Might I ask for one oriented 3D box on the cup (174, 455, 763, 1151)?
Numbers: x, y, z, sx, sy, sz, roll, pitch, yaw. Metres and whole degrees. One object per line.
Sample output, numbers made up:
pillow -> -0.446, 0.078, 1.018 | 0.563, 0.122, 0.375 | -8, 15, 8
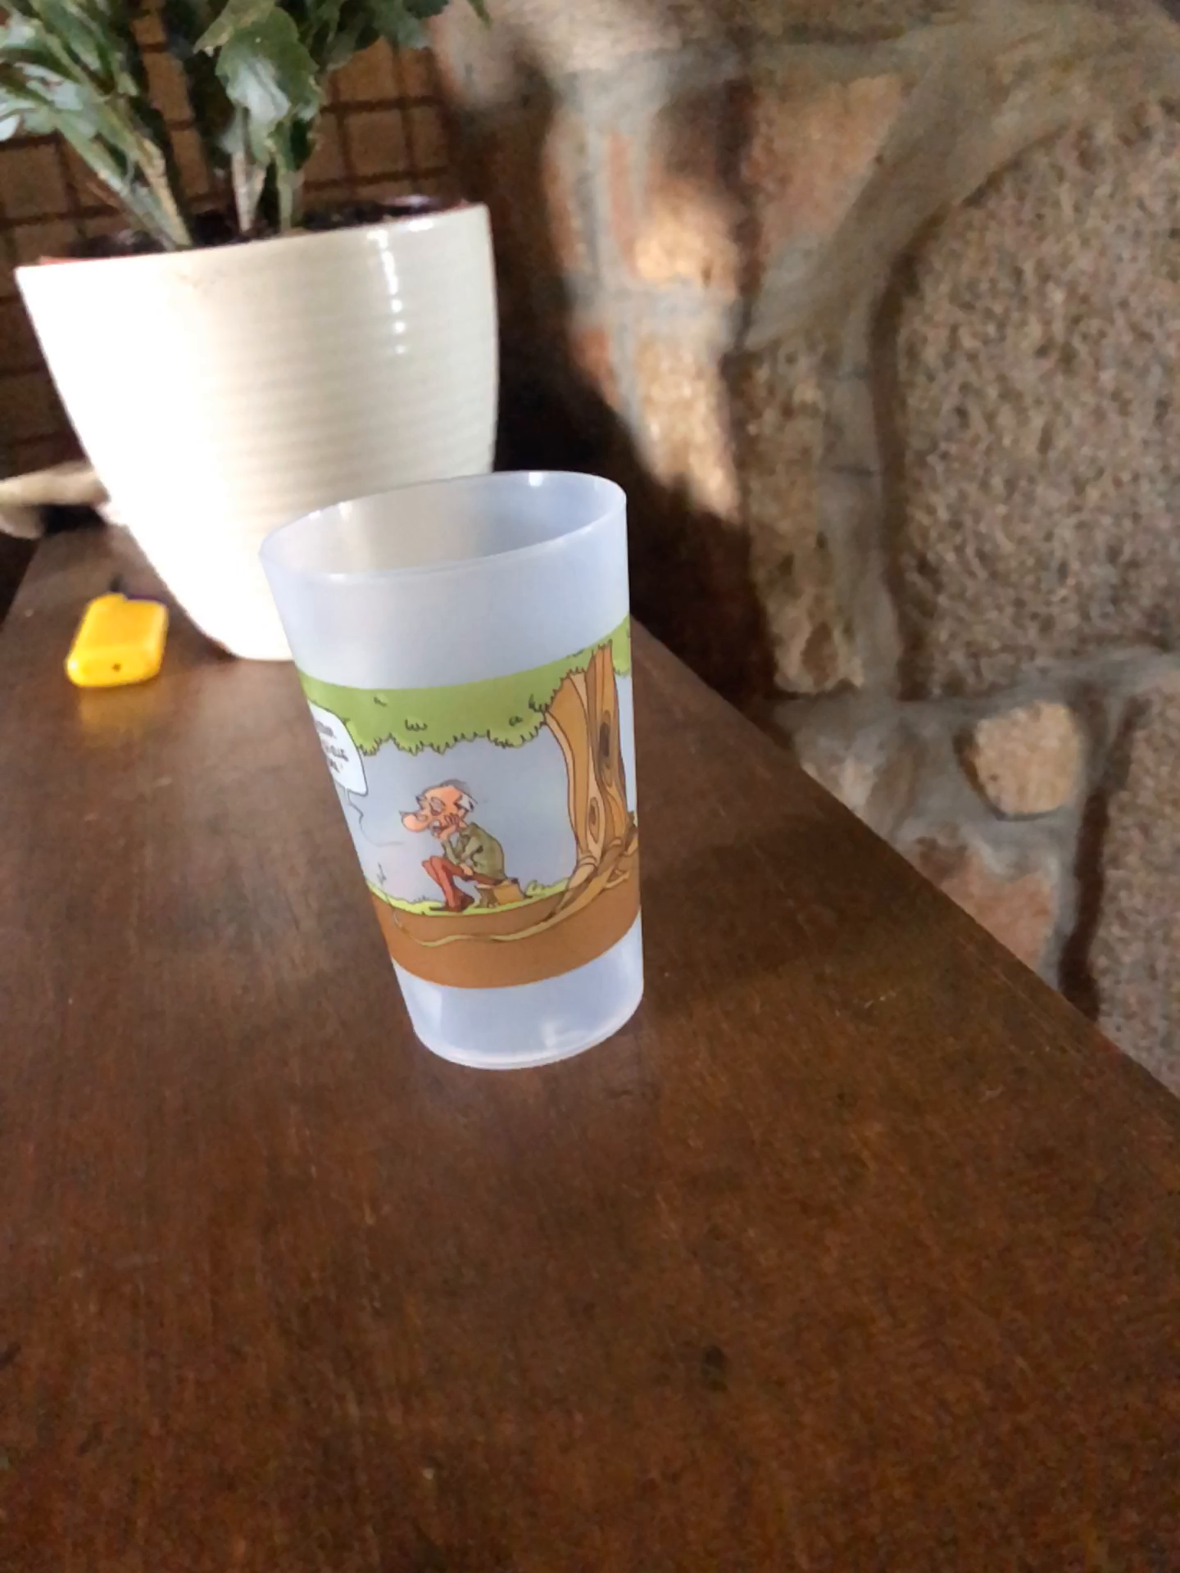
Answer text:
cup -> -0.018, -0.003, 0.287 | 0.080, 0.119, 0.080 | -6, 24, 3

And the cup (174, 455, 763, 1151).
cup -> -0.018, -0.003, 0.287 | 0.080, 0.119, 0.080 | -6, 24, 3
